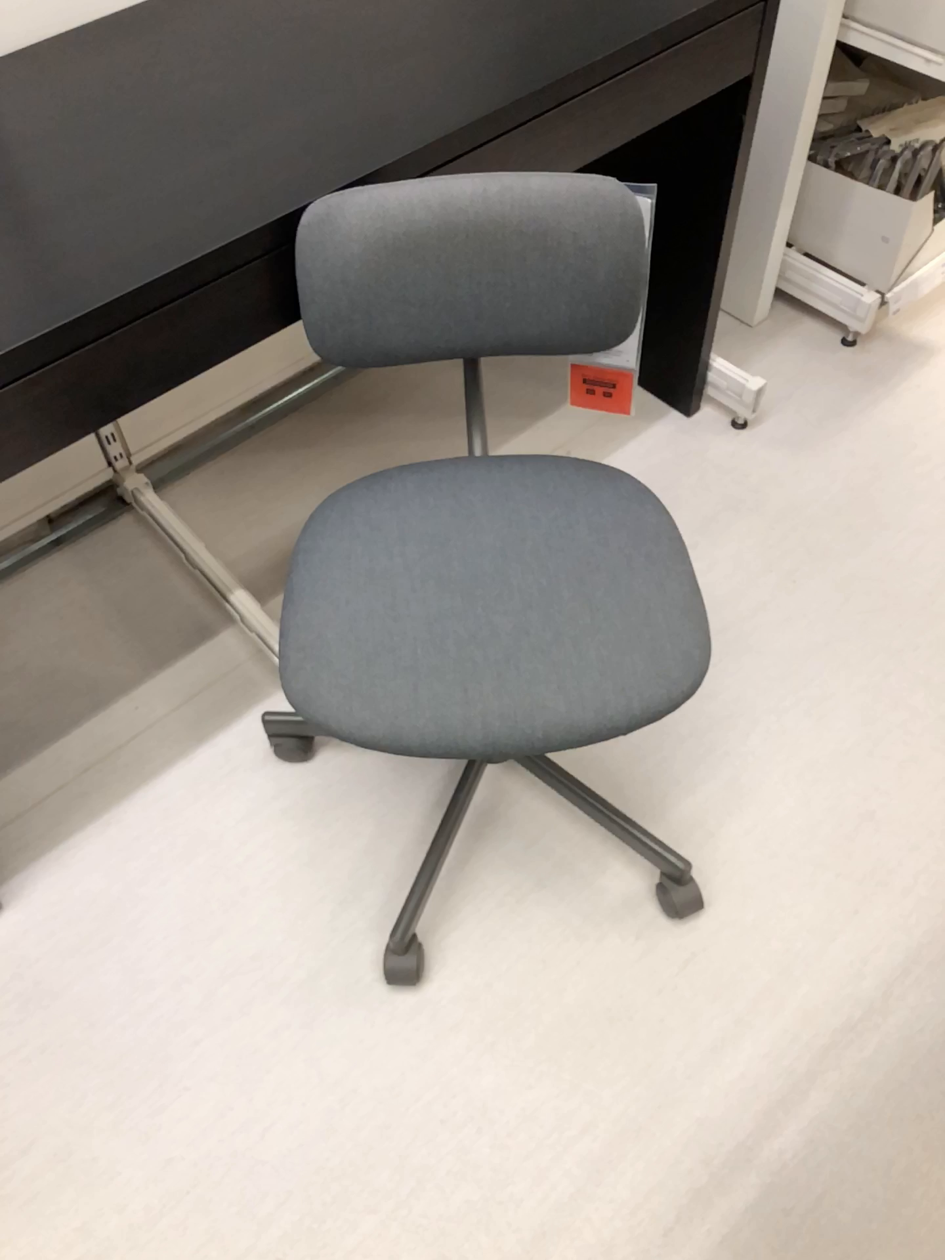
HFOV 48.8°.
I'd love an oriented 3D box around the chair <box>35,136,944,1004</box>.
[{"bbox_3d":[0.021,-0.030,1.117,0.620,0.676,0.593,-4,53,-1],"label":"chair"}]
